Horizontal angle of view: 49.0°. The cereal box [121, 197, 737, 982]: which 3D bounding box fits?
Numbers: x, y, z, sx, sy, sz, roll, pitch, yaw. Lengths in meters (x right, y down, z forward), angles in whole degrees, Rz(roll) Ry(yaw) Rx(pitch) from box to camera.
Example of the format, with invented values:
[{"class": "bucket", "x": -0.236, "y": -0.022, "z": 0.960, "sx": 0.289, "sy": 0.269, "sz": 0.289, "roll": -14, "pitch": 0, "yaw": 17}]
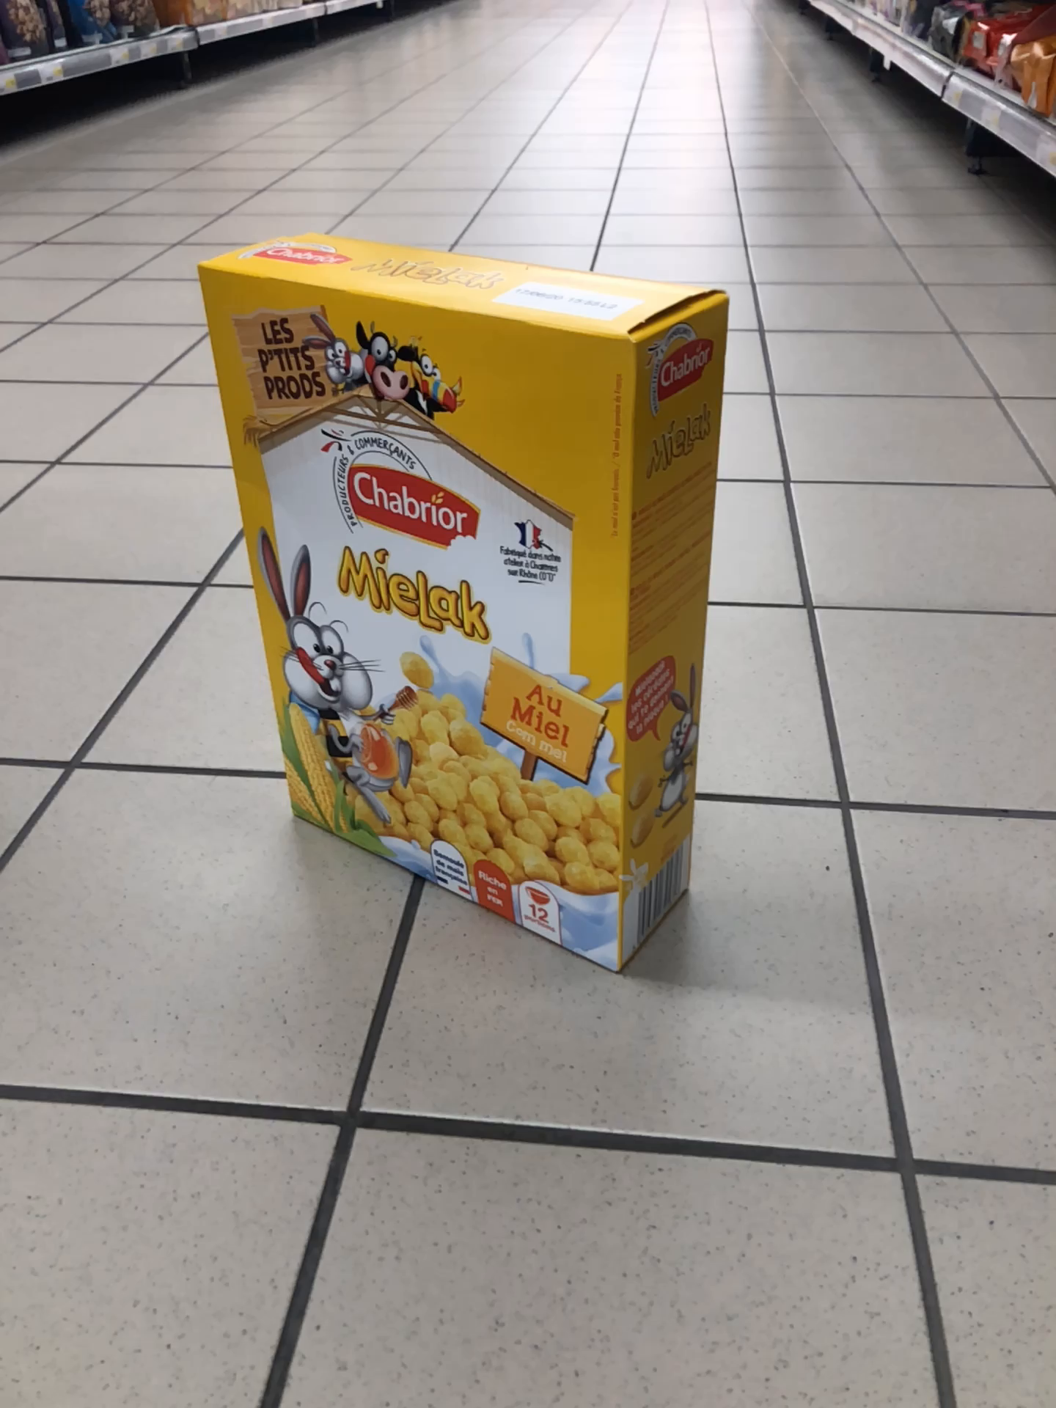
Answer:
[{"class": "cereal box", "x": -0.038, "y": -0.047, "z": 0.459, "sx": 0.210, "sy": 0.258, "sz": 0.070, "roll": 20, "pitch": 38, "yaw": 30}]
